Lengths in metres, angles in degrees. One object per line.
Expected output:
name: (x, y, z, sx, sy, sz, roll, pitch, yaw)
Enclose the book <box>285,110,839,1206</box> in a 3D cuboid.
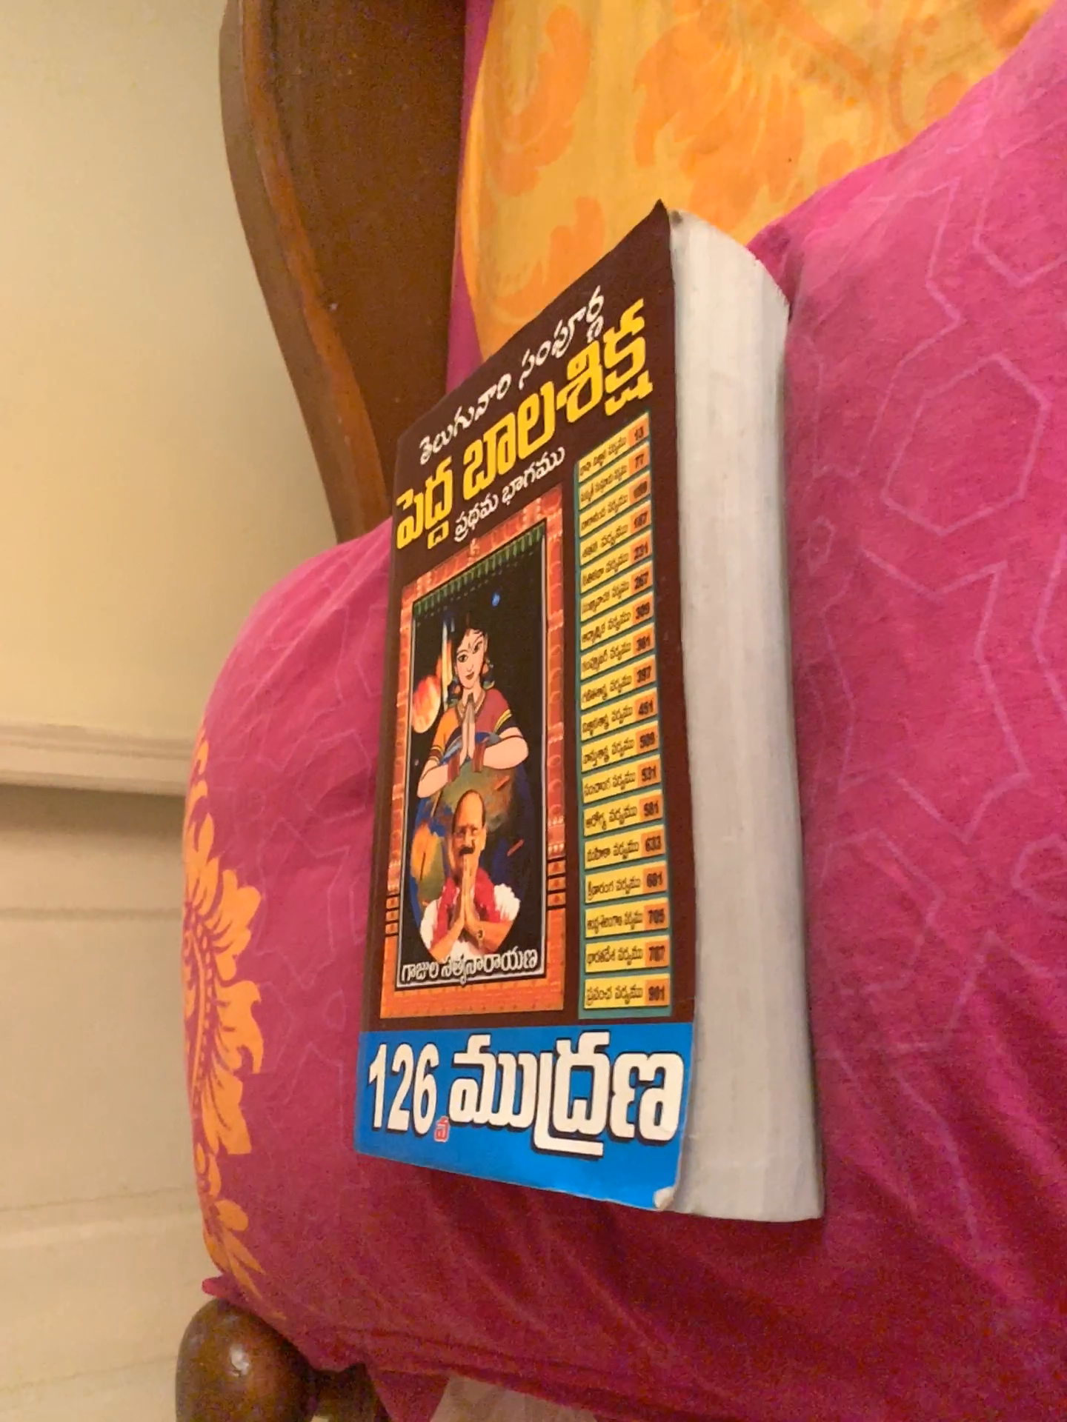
book: (-0.002, -0.006, 0.331, 0.181, 0.050, 0.260, -22, 60, 53)
